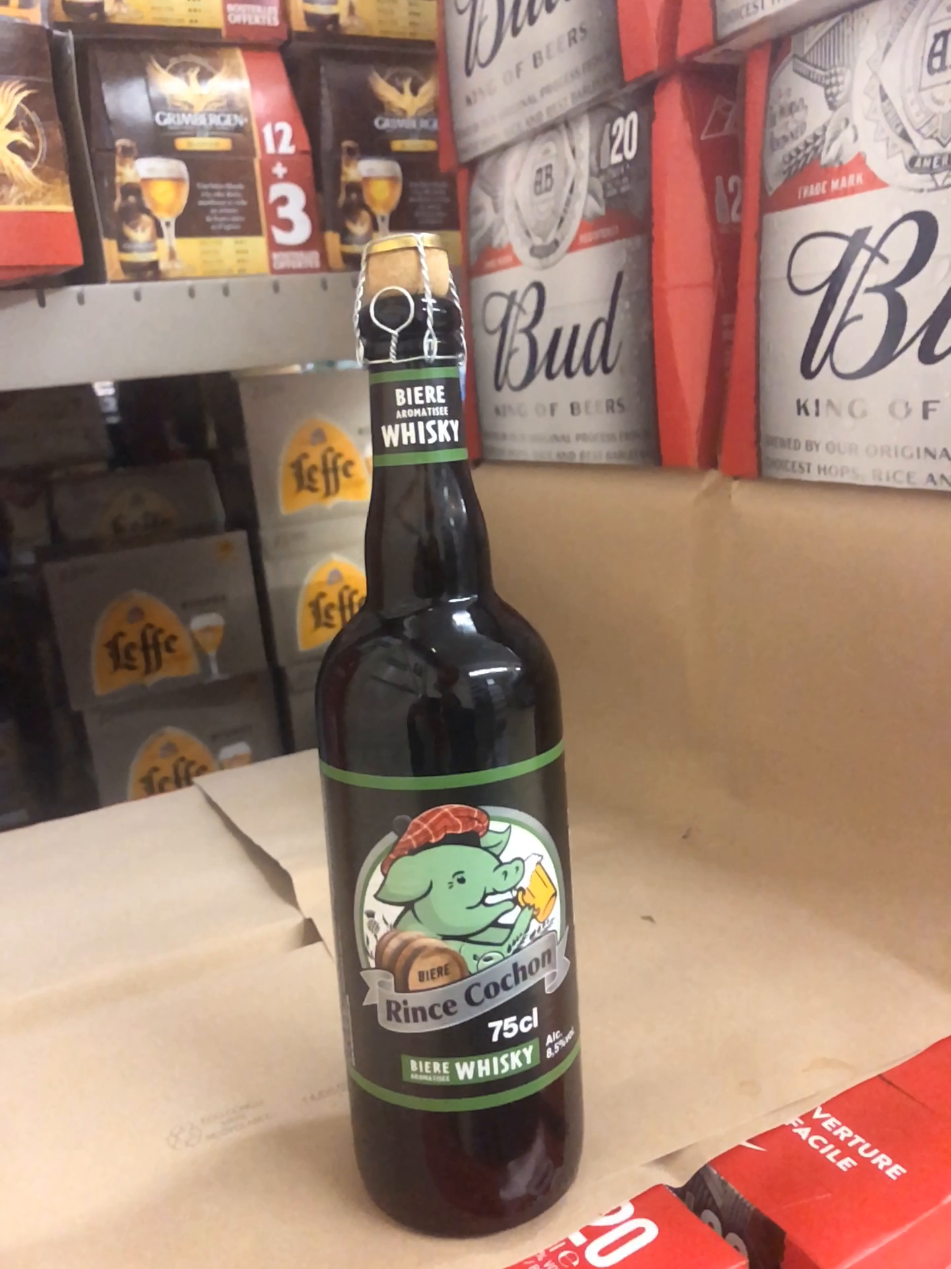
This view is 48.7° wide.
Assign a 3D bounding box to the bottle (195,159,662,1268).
[{"bbox_3d":[-0.015,0.026,0.317,0.090,0.299,0.080,-9,9,-17],"label":"bottle"}]
